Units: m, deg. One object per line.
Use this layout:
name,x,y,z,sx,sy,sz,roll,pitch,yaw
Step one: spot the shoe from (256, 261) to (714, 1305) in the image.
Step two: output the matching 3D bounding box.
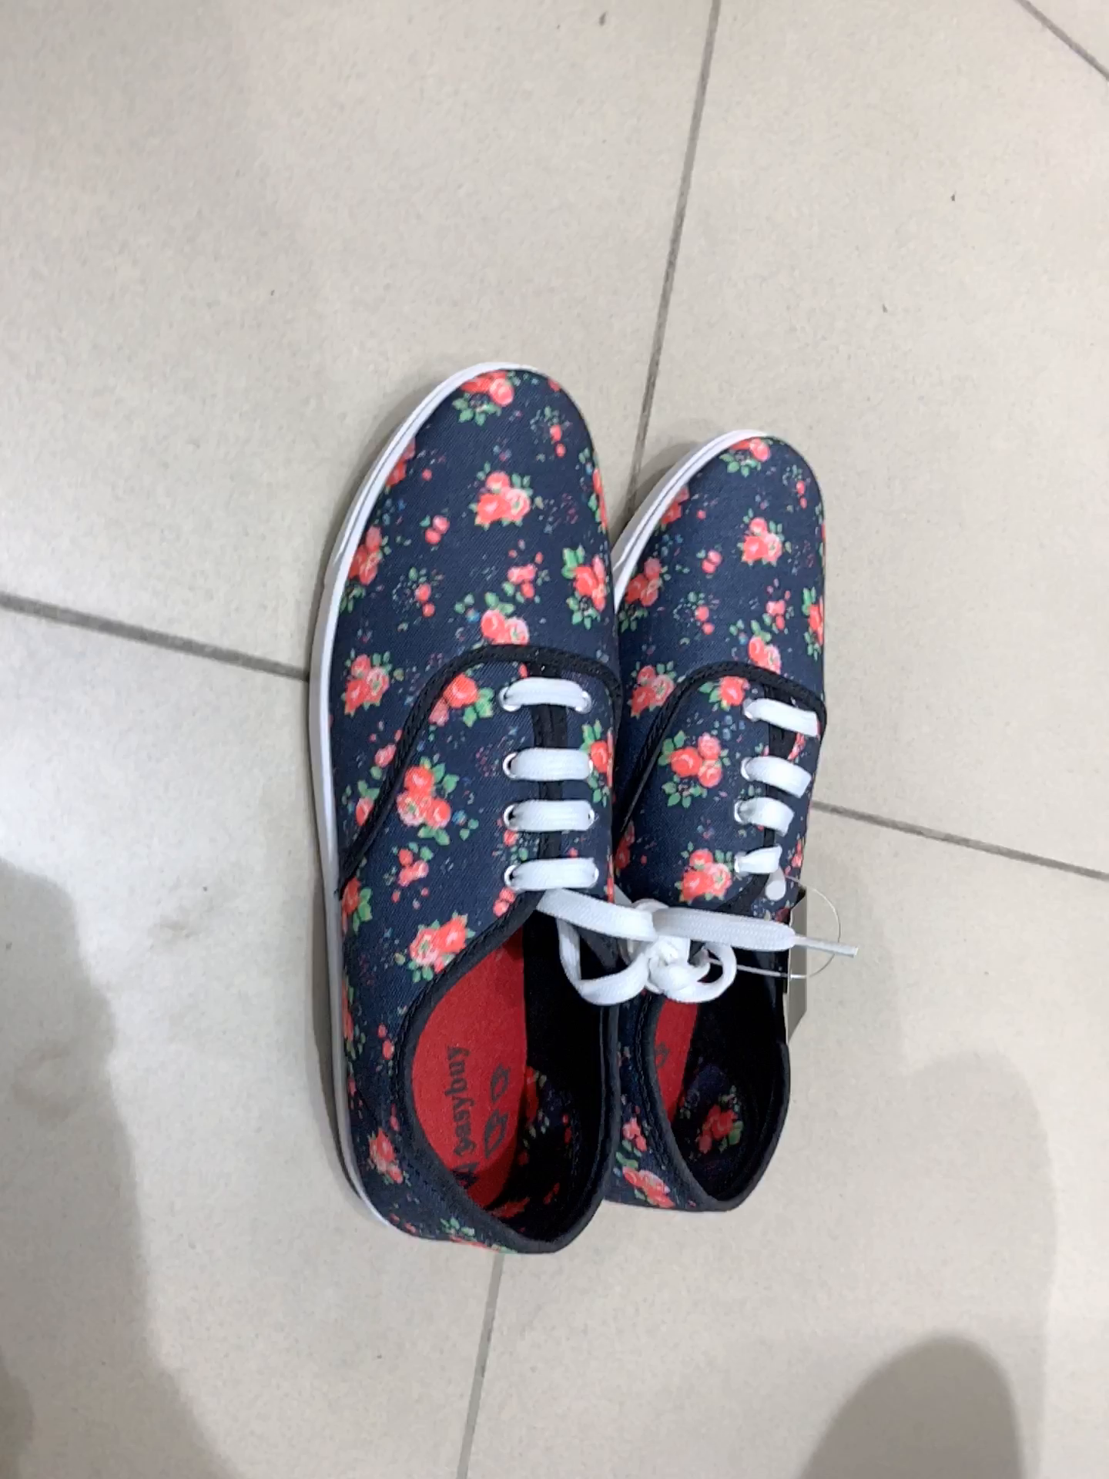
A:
shoe,-0.022,0.013,0.356,0.100,0.080,0.270,5,87,-31

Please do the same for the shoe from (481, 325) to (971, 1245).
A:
shoe,0.060,0.017,0.391,0.100,0.080,0.270,13,83,-31
